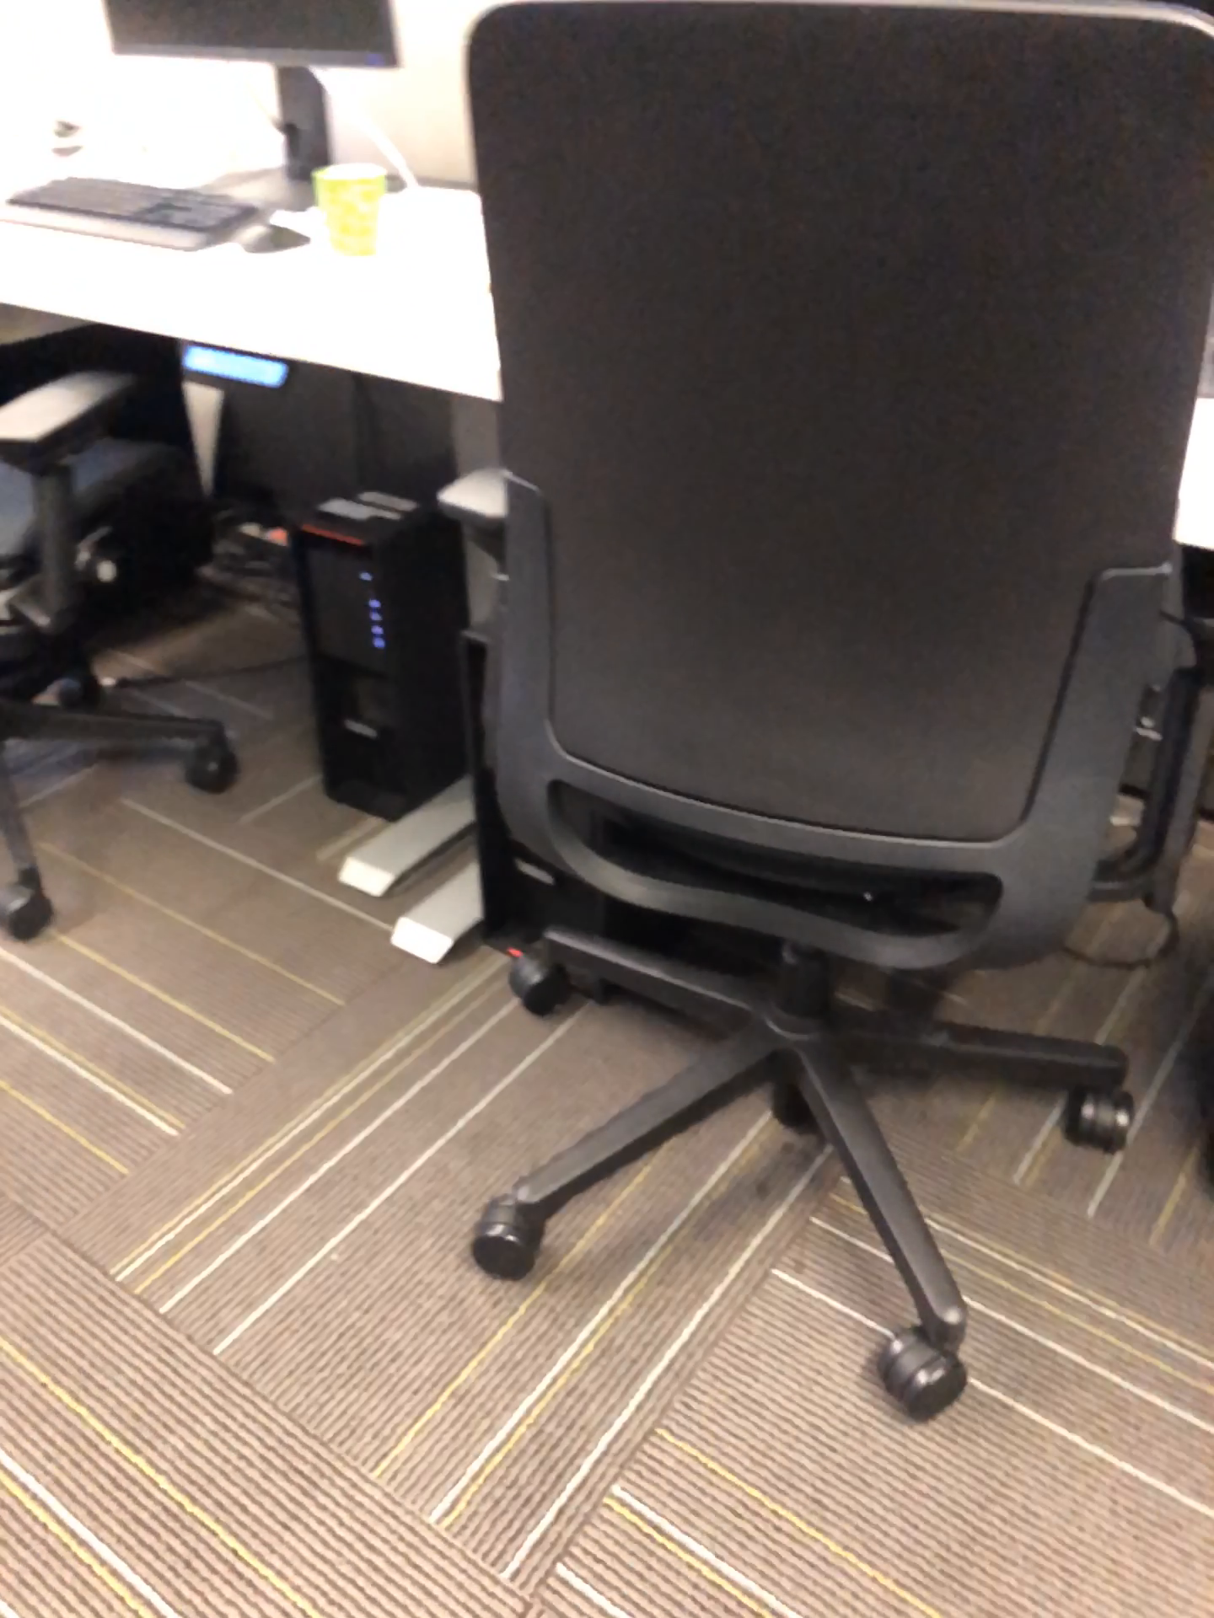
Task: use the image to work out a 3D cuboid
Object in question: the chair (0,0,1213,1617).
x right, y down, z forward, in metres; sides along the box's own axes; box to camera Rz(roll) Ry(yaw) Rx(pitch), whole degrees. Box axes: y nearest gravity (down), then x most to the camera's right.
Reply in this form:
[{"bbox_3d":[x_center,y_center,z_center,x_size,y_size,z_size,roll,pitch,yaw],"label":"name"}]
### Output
[{"bbox_3d":[0.097,-0.098,1.082,0.781,1.014,0.663,21,38,29],"label":"chair"}]
